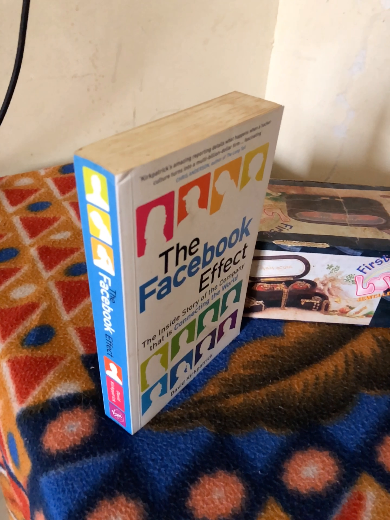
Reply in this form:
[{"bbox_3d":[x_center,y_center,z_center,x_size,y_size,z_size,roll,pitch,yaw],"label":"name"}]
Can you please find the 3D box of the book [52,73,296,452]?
[{"bbox_3d":[-0.005,0.004,0.295,0.040,0.219,0.150,27,43,30],"label":"book"}]
